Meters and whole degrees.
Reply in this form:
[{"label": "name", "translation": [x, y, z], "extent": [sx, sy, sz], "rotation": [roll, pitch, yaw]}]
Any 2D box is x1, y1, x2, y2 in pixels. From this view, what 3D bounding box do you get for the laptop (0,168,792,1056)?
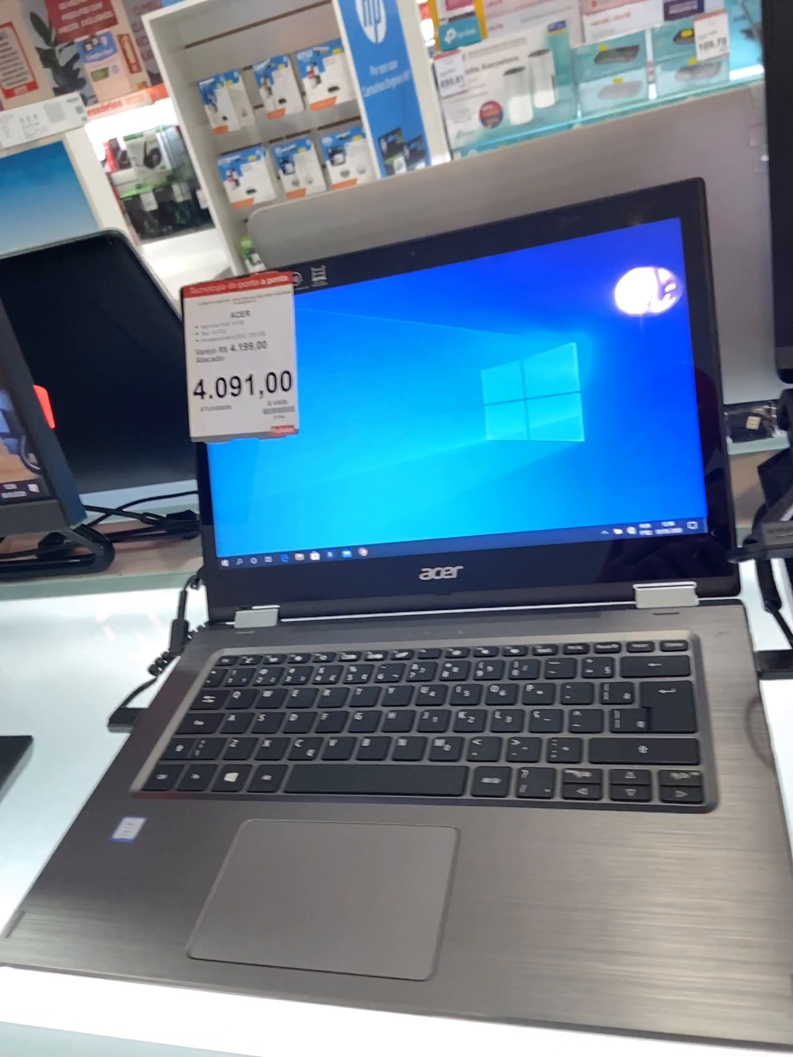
[{"label": "laptop", "translation": [-0.009, -0.004, 0.398], "extent": [0.328, 0.187, 0.357], "rotation": [-6, 32, 19]}]
